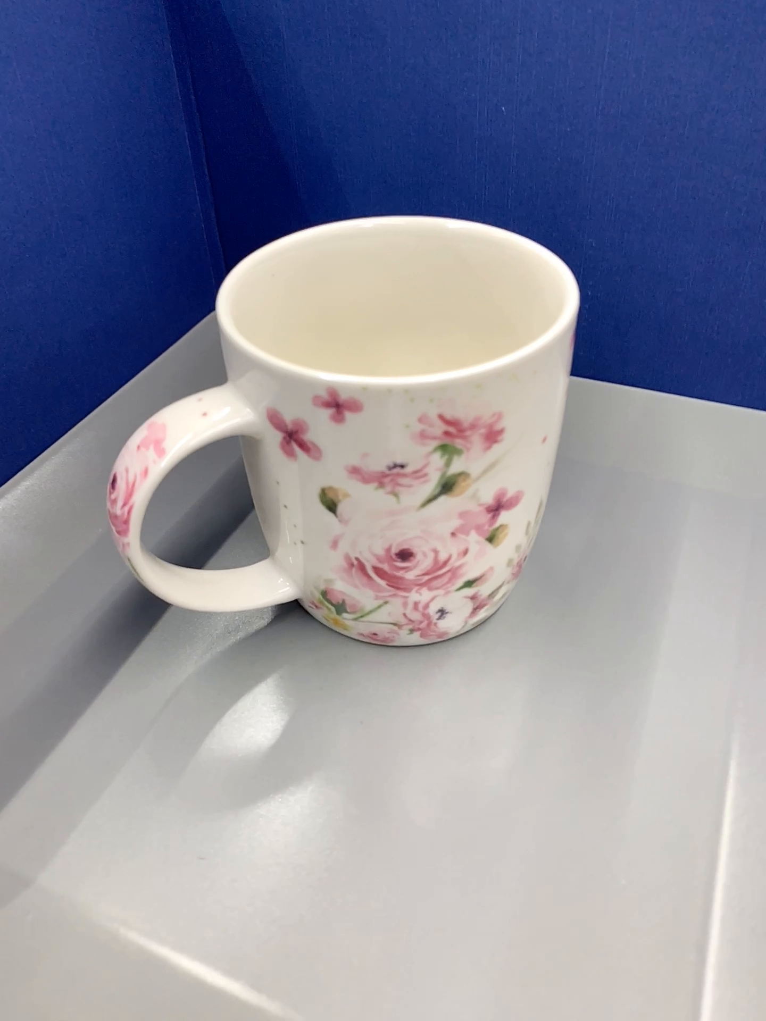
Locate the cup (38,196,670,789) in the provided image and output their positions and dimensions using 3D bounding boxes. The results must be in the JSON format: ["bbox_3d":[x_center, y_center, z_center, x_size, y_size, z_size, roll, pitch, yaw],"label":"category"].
[{"bbox_3d":[-0.010,-0.012,0.195,0.110,0.087,0.085,-18,41,-18],"label":"cup"}]
